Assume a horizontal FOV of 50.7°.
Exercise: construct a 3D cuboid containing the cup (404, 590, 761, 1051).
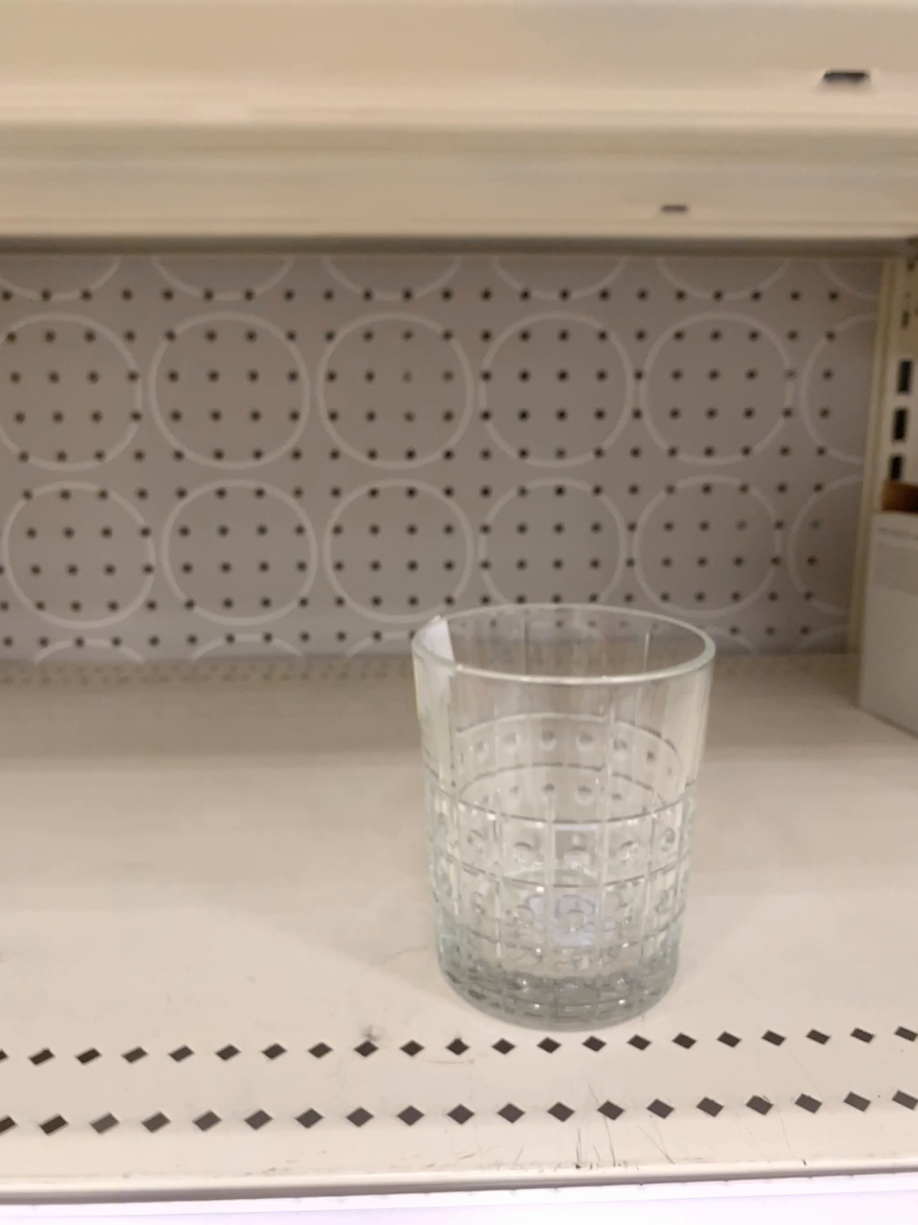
[{"bbox_3d":[0.030,0.057,0.300,0.090,0.110,0.090,0,14,0],"label":"cup"}]
